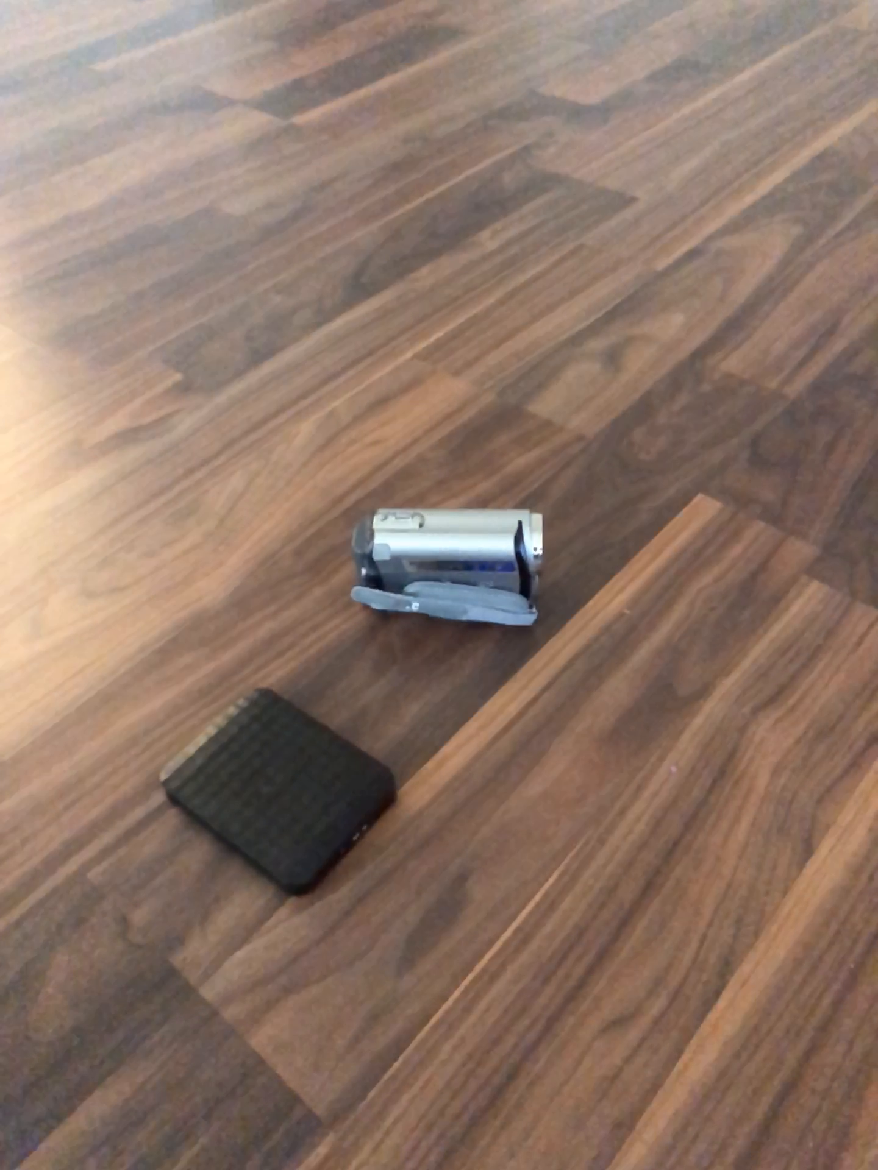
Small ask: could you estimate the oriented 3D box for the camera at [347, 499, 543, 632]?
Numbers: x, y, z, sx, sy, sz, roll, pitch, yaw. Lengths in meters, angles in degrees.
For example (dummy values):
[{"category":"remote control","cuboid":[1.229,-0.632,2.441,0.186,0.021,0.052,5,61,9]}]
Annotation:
[{"category":"camera","cuboid":[0.006,-0.012,0.602,0.115,0.065,0.048,2,45,5]}]
